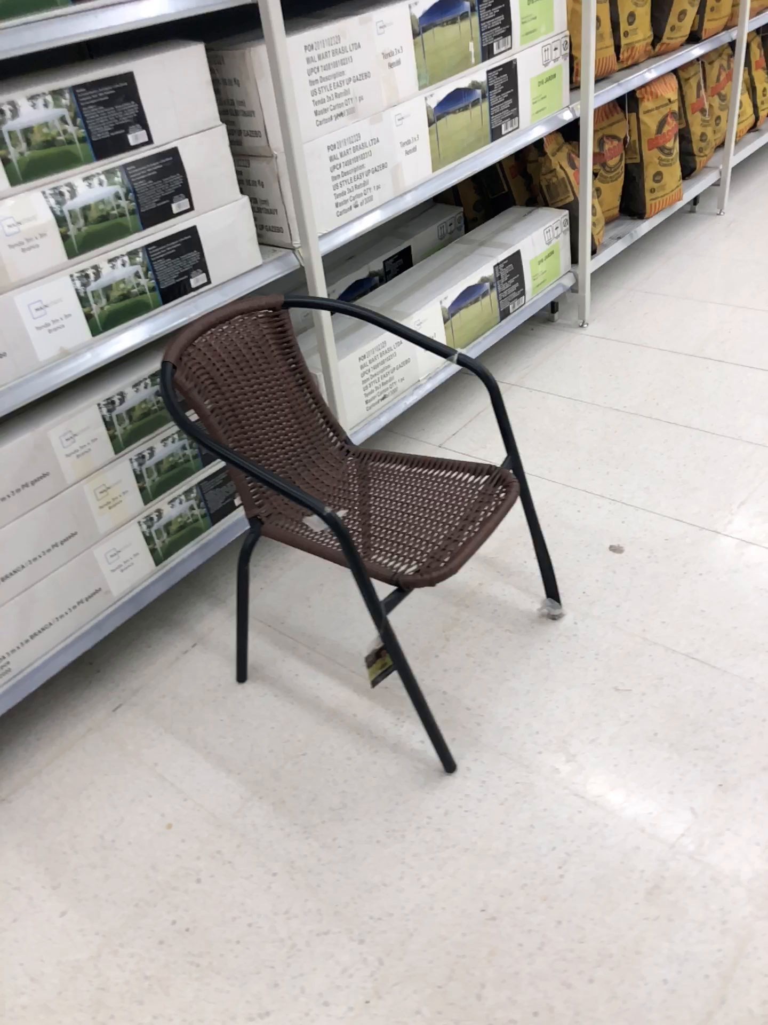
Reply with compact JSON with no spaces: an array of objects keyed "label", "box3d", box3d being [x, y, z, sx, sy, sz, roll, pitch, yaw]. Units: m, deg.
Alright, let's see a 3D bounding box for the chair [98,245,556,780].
[{"label":"chair","box3d":[-0.037,-0.026,1.506,0.531,0.715,0.483,14,41,29]}]
